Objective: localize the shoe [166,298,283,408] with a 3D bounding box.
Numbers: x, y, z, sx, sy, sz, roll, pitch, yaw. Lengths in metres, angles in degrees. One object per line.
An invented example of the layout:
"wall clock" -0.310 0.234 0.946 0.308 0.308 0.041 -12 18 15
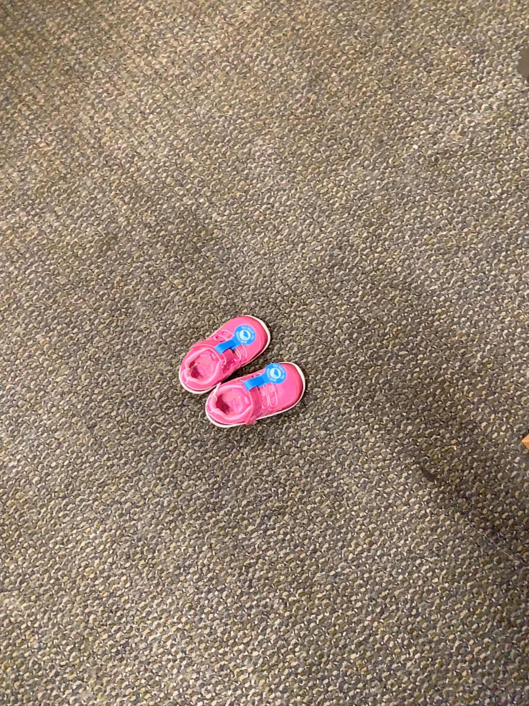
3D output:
"shoe" -0.052 0.001 0.728 0.140 0.040 0.070 -39 80 -3

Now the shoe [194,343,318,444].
"shoe" -0.010 0.053 0.695 0.140 0.040 0.070 -27 79 -1
